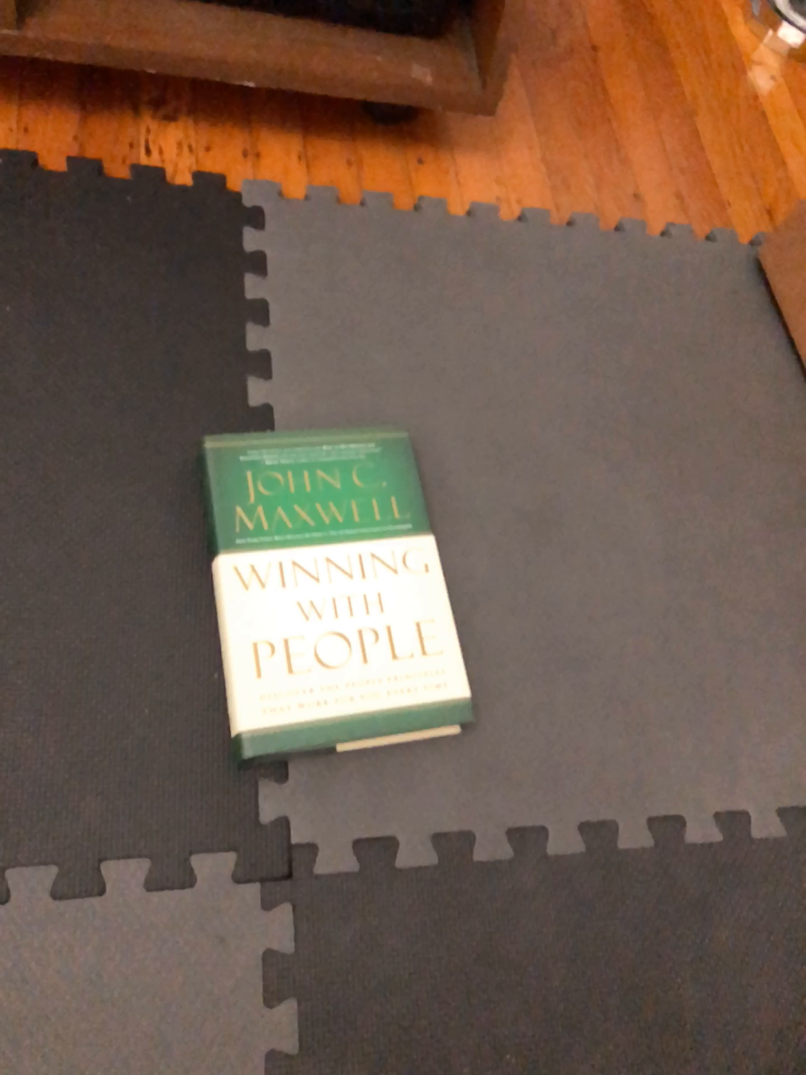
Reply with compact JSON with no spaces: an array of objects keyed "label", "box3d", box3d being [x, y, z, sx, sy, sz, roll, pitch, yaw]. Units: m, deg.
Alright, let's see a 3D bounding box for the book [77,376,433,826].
[{"label":"book","box3d":[-0.105,0.023,0.584,0.200,0.030,0.291,-3,65,-16]}]
